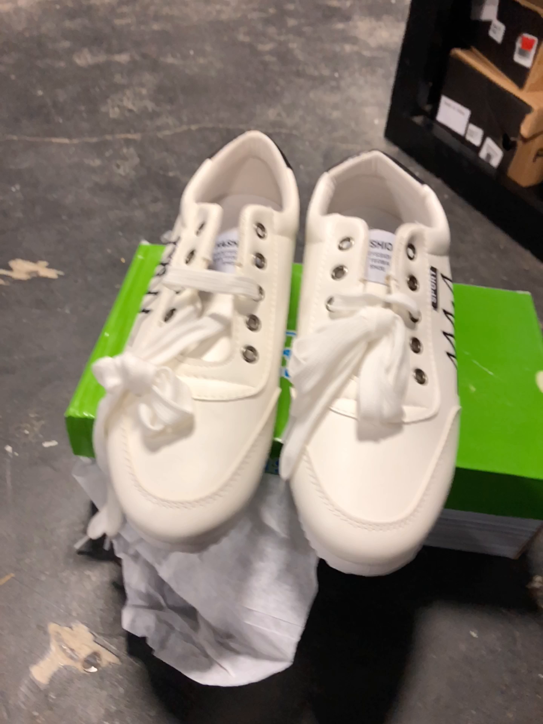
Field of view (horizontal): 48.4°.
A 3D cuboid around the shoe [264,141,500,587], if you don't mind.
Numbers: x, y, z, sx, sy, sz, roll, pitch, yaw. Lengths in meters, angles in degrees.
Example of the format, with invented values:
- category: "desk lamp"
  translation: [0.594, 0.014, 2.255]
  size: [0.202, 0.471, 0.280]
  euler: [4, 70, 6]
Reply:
- category: "shoe"
  translation: [0.061, -0.026, 0.359]
  size: [0.090, 0.079, 0.282]
  euler: [4, 46, 6]

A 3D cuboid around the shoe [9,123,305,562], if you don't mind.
- category: "shoe"
  translation: [-0.038, -0.038, 0.356]
  size: [0.090, 0.079, 0.282]
  euler: [4, 46, 6]
